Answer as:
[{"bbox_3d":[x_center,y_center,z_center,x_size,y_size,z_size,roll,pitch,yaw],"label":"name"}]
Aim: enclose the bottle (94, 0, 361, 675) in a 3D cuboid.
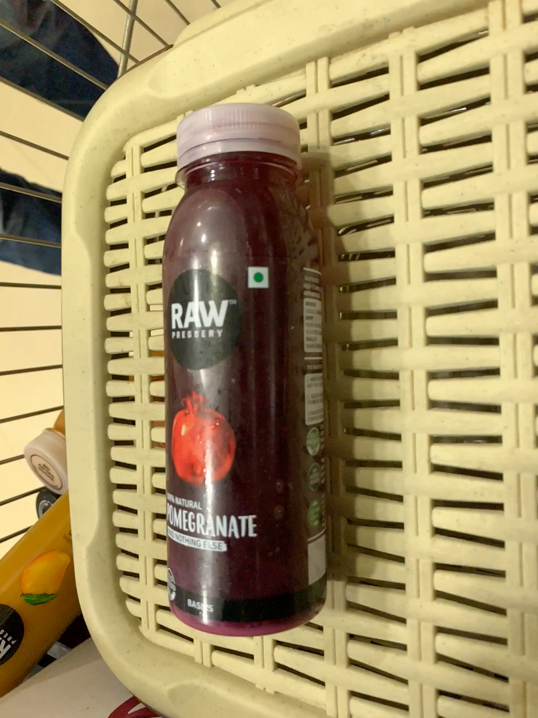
[{"bbox_3d":[-0.011,-0.005,0.169,0.060,0.050,0.160,0,92,32],"label":"bottle"}]
